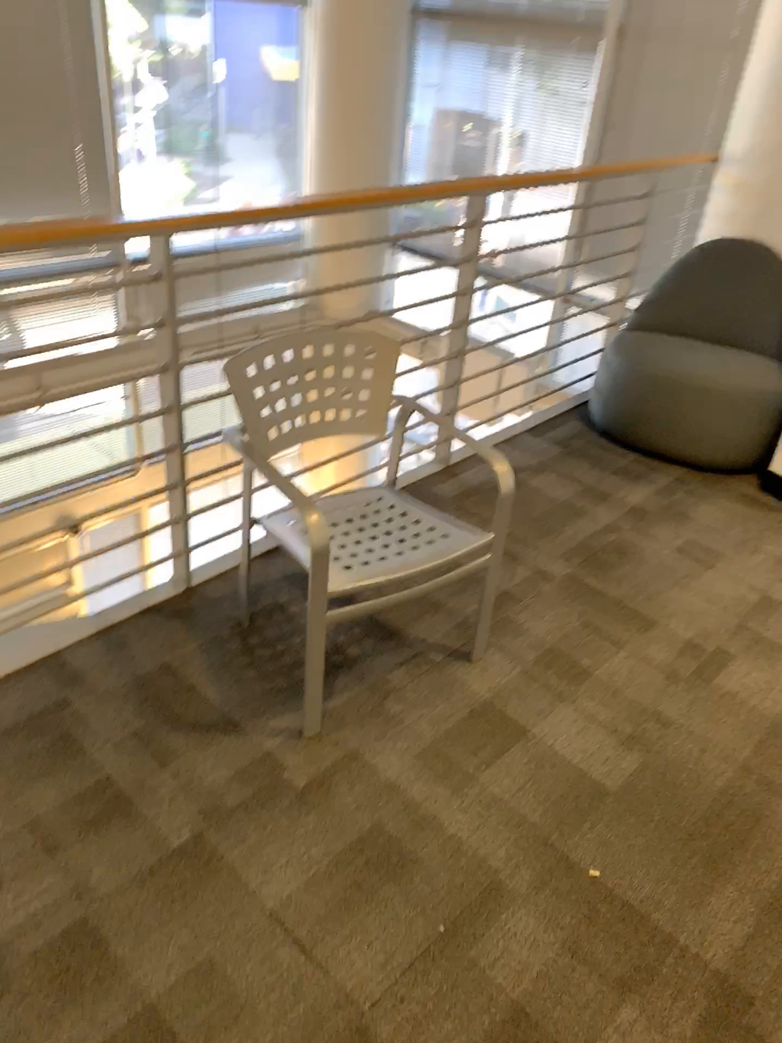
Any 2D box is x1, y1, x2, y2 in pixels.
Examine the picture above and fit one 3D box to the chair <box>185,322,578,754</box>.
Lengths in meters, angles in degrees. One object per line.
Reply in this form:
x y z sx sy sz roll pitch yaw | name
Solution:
-0.066 -0.011 2.134 0.681 0.755 0.683 -19 40 -34 | chair
